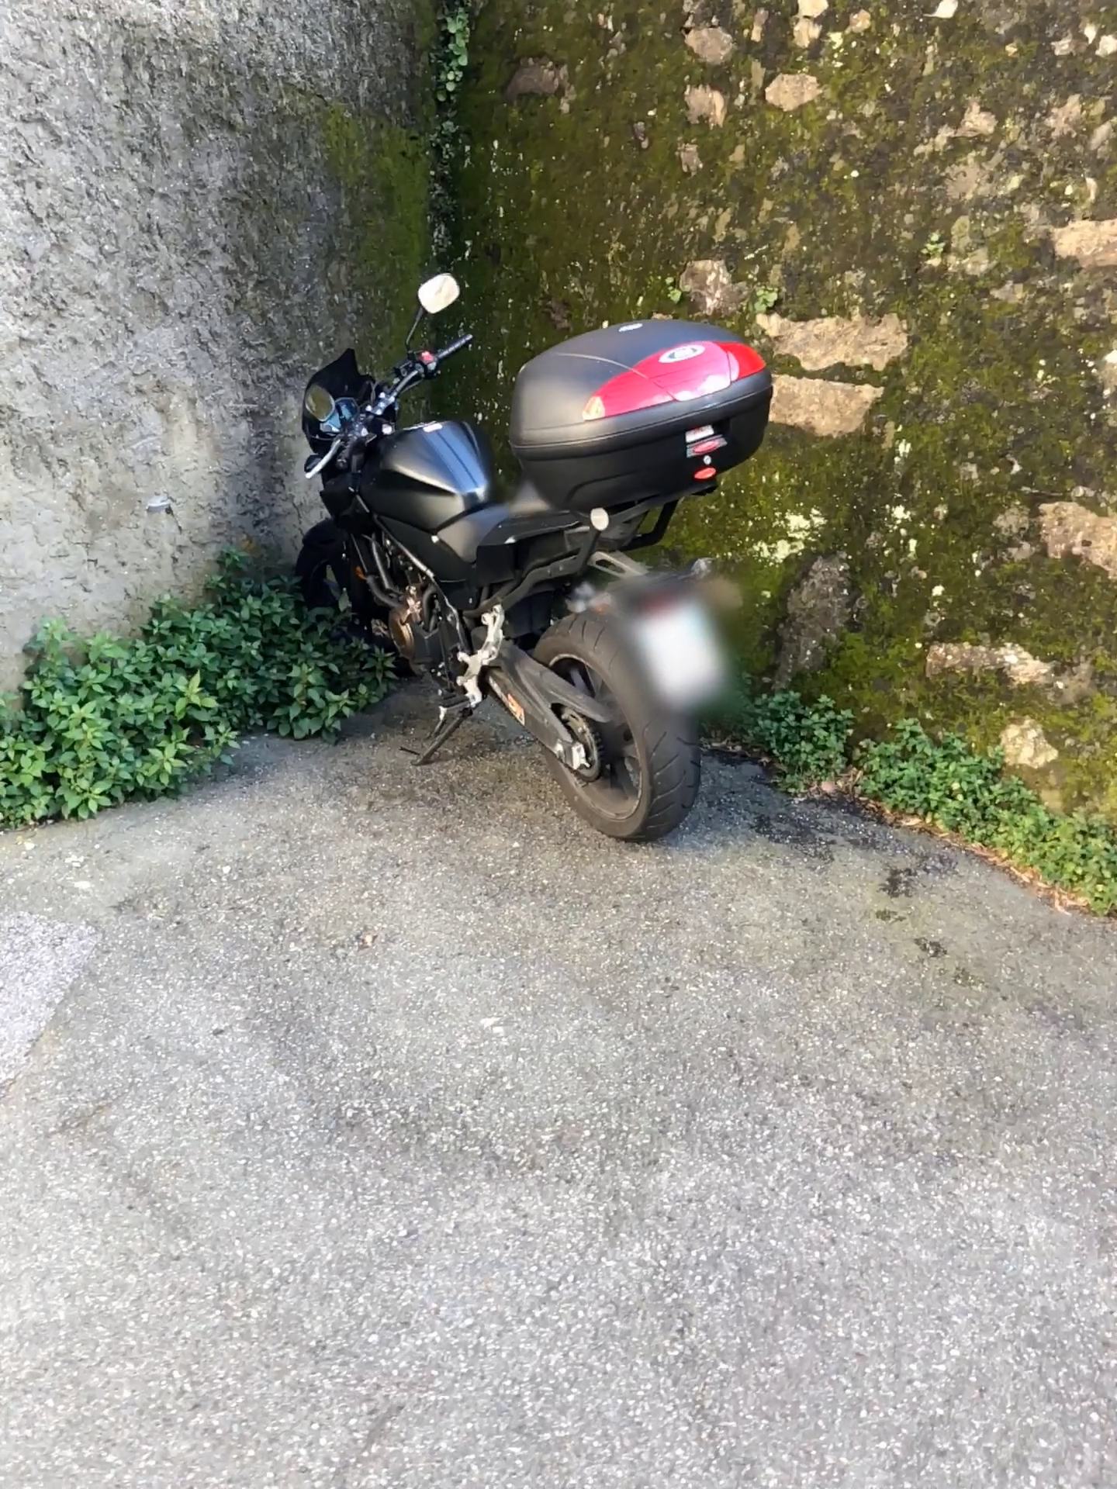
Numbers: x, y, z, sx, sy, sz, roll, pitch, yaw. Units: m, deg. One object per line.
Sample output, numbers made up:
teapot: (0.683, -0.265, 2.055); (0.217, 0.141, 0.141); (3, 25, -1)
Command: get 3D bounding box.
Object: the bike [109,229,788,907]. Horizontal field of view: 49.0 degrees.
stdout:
bike: (-0.400, -0.611, 3.327); (0.712, 1.198, 1.788); (-14, 30, -41)
